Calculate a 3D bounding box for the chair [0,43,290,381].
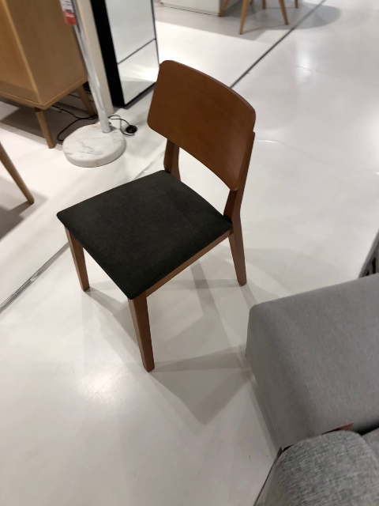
[{"bbox_3d":[-0.112,-0.117,1.392,0.581,0.804,0.532,-32,54,-21],"label":"chair"}]
